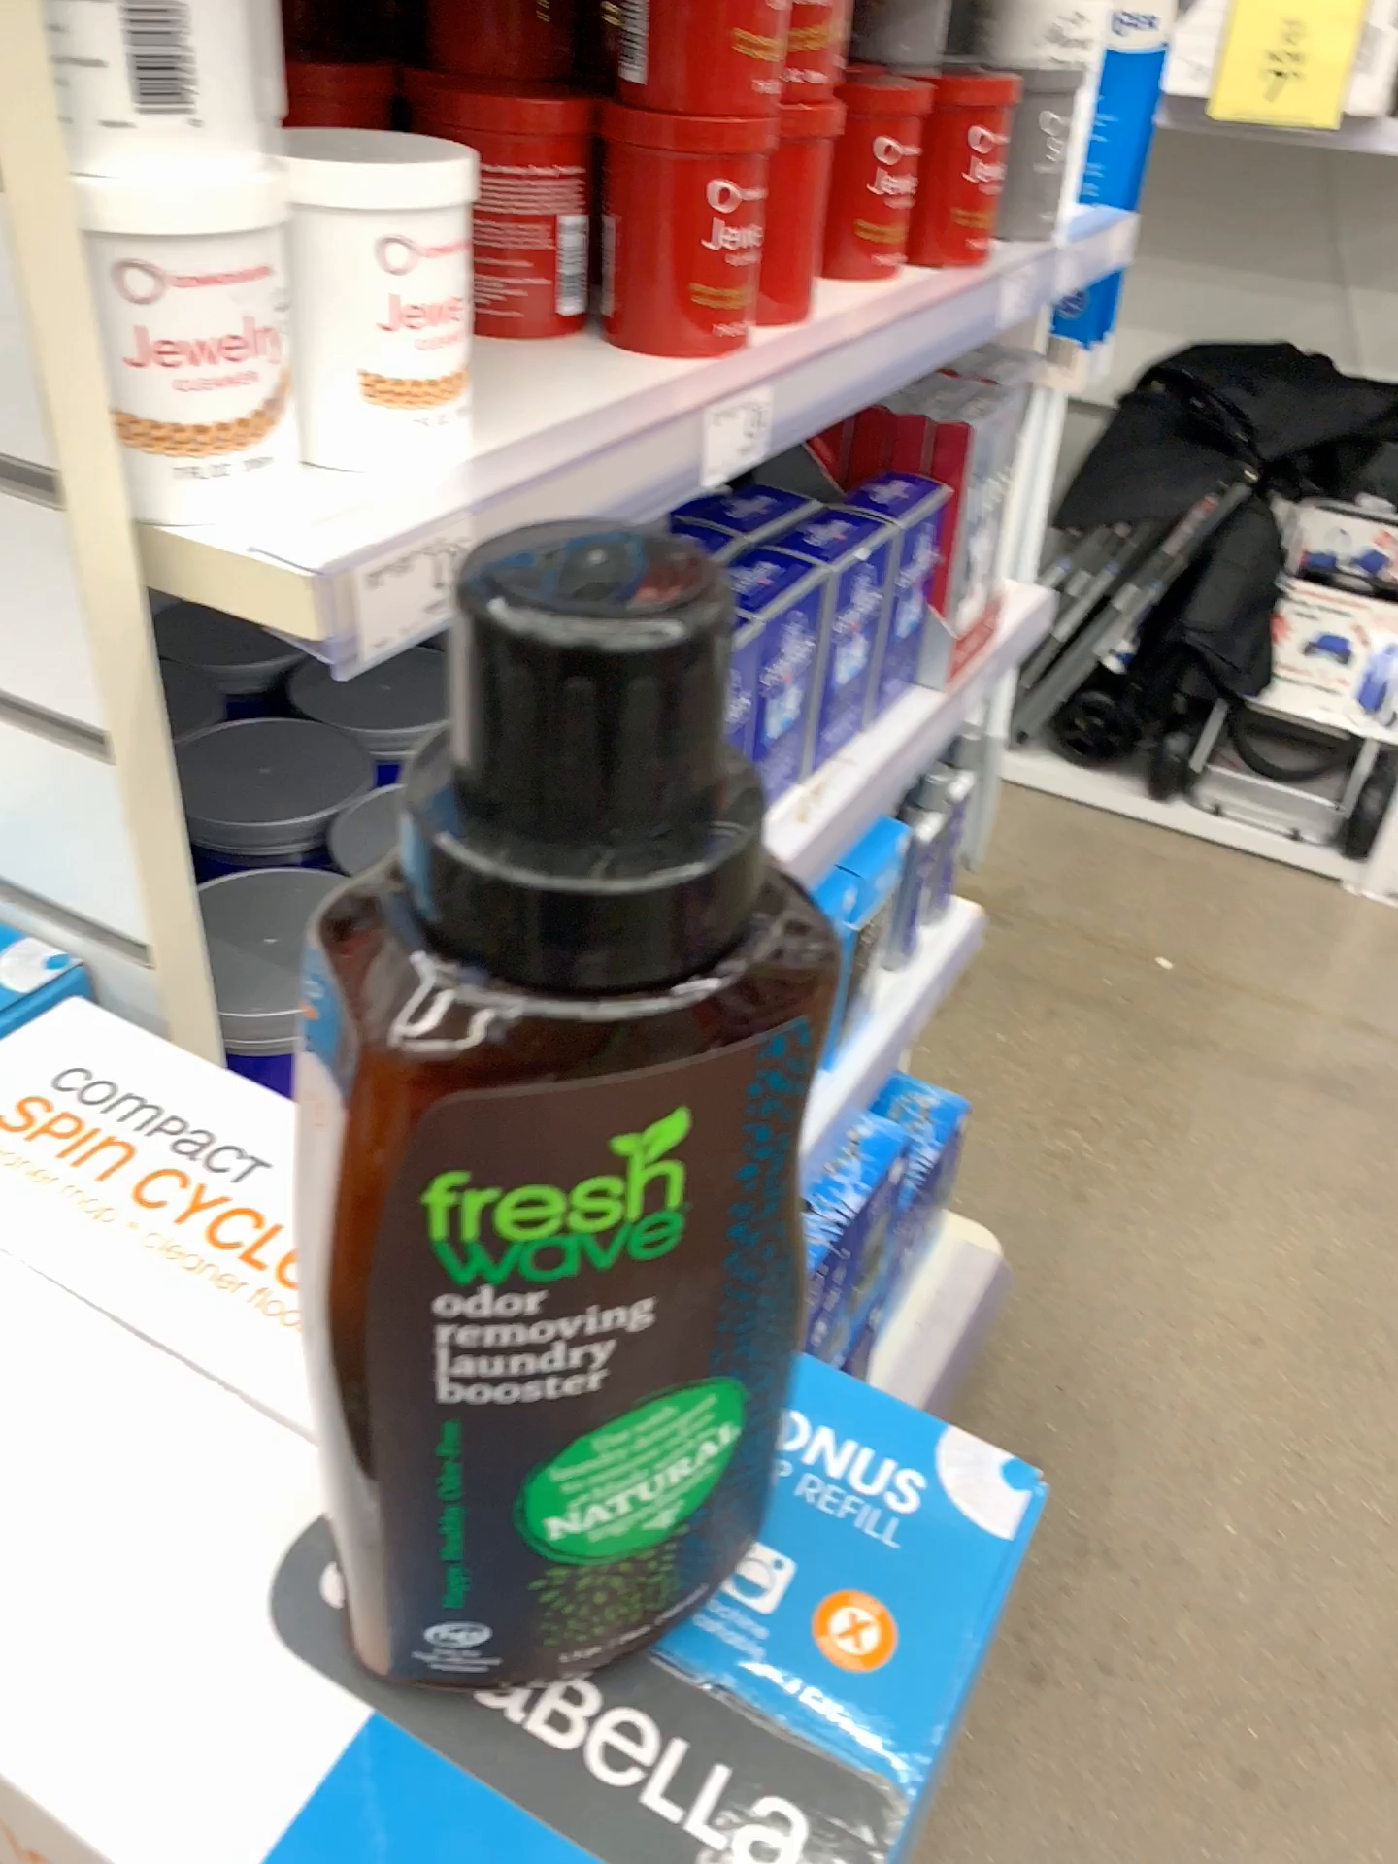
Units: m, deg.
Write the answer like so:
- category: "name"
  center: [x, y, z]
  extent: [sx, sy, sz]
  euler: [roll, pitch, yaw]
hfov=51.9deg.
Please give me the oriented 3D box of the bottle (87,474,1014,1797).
- category: "bottle"
  center: [-0.028, 0.042, 0.240]
  extent: [0.100, 0.209, 0.070]
  euler: [-10, 37, -19]
